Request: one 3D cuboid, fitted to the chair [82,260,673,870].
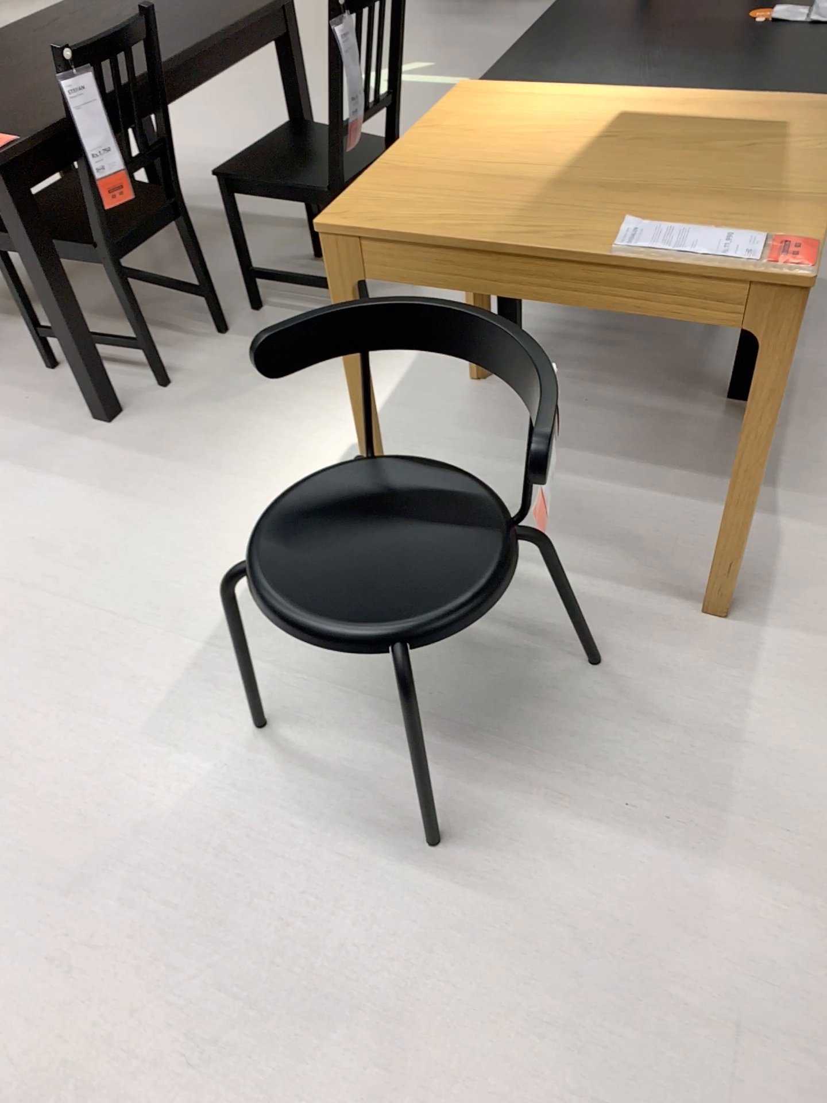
[{"bbox_3d":[-0.017,-0.007,1.412,0.591,0.598,0.611,26,54,29],"label":"chair"}]
